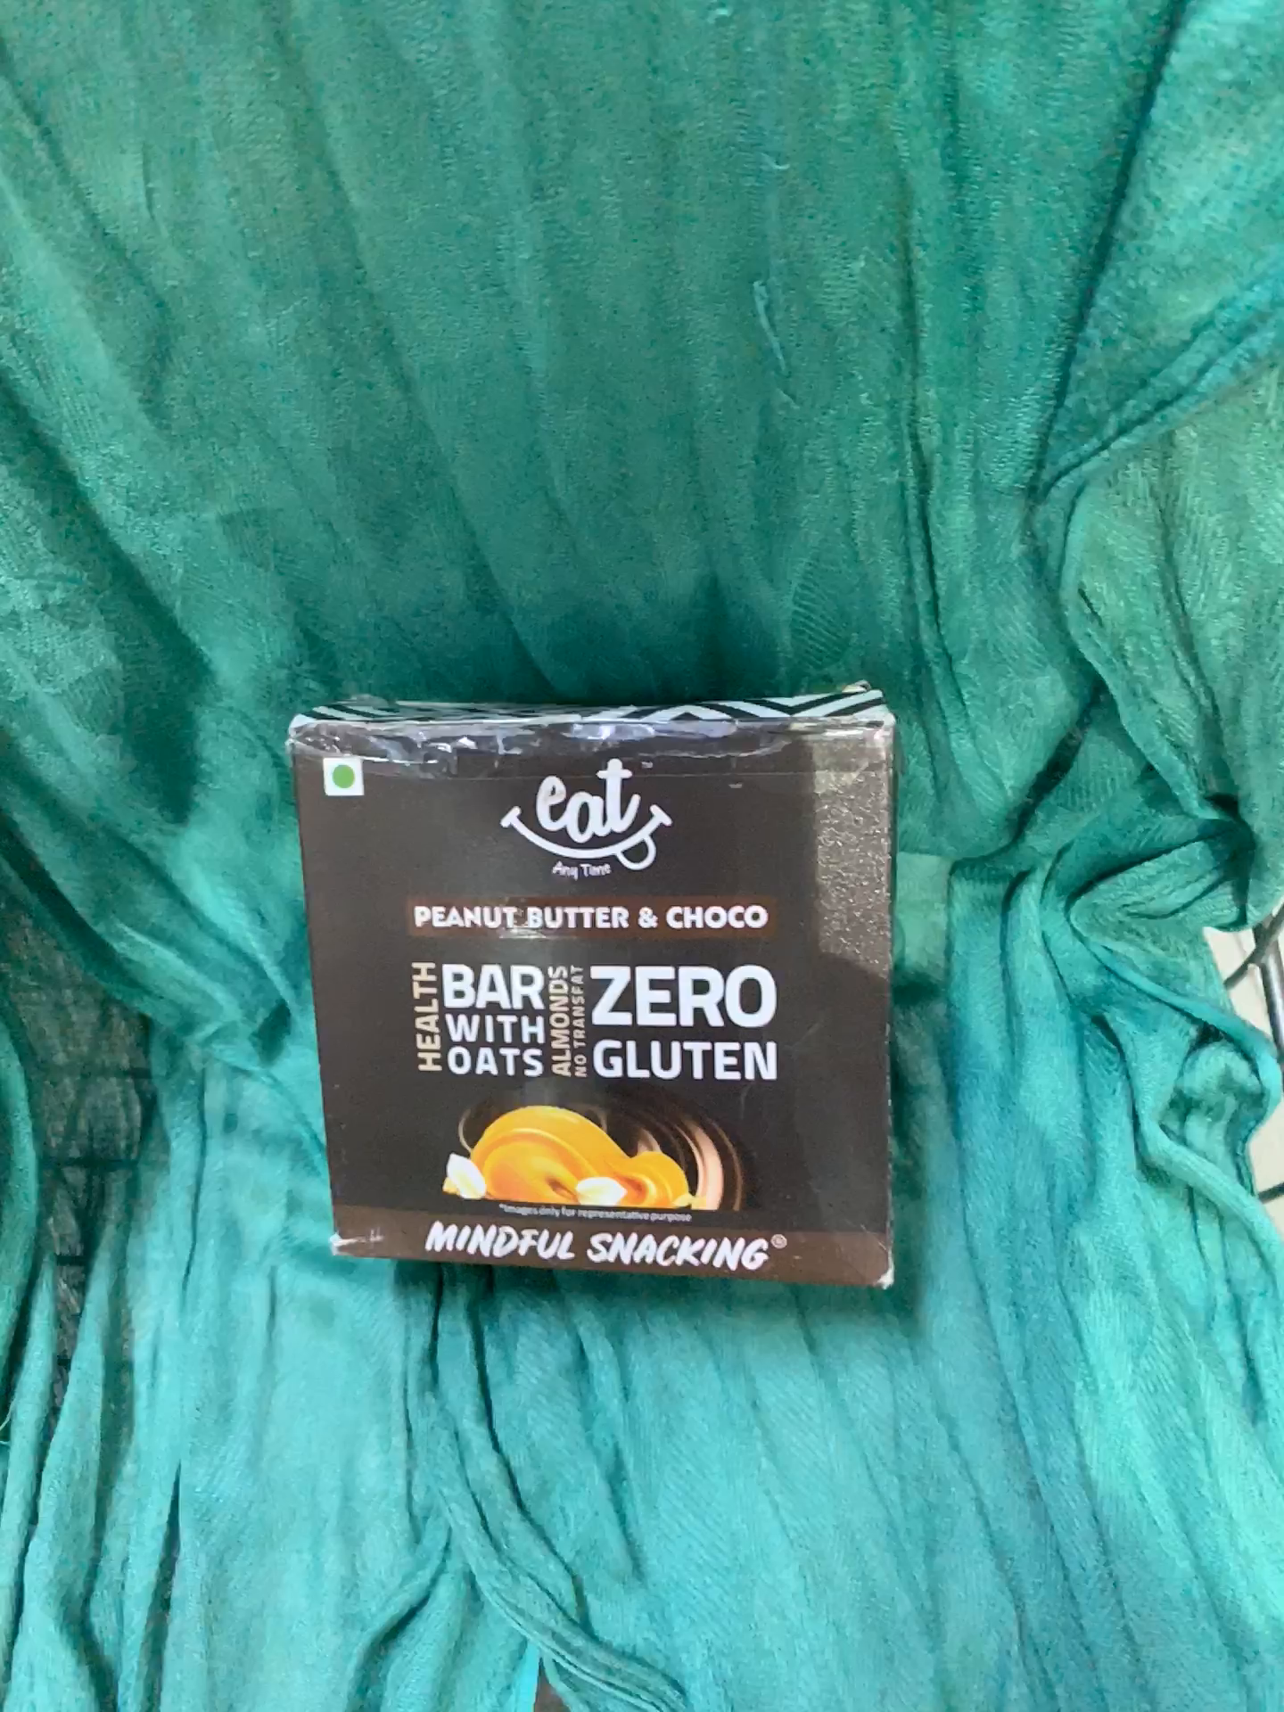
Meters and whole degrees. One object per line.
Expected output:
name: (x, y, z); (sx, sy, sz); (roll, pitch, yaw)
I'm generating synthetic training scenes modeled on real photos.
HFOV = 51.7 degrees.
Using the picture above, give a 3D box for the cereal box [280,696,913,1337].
cereal box: (-0.004, 0.032, 0.341); (0.140, 0.090, 0.140); (0, 98, 9)
